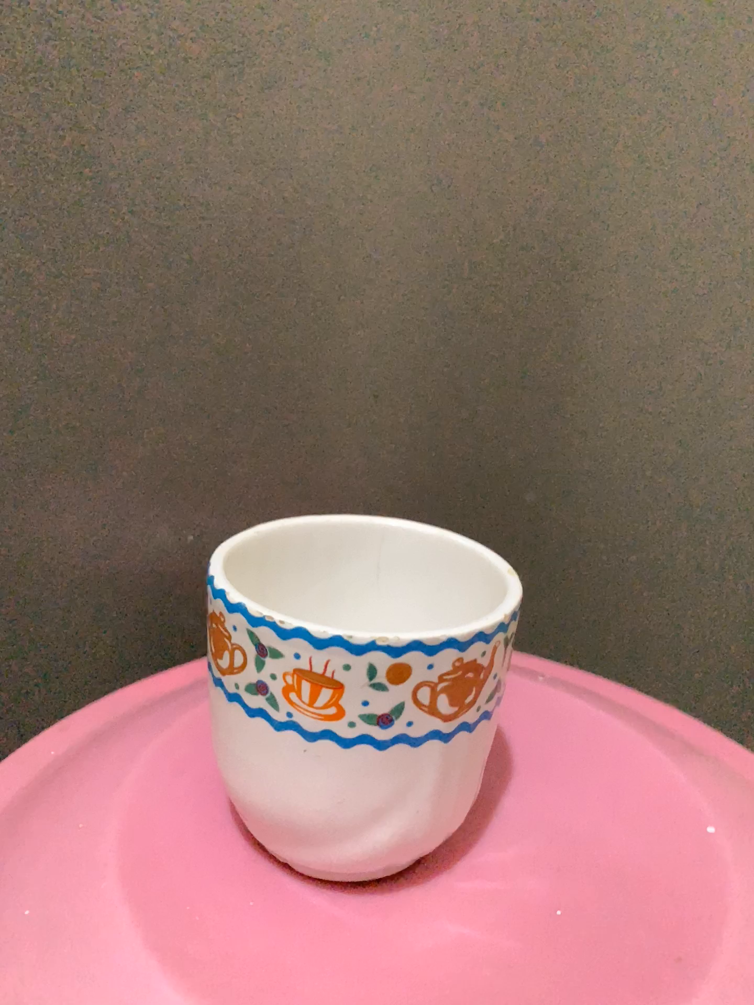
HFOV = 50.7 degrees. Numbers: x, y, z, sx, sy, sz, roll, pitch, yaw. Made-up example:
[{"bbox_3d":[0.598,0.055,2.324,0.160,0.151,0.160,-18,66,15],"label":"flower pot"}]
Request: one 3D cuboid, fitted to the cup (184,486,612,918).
[{"bbox_3d":[-0.003,0.036,0.181,0.075,0.062,0.072,4,14,-1],"label":"cup"}]
